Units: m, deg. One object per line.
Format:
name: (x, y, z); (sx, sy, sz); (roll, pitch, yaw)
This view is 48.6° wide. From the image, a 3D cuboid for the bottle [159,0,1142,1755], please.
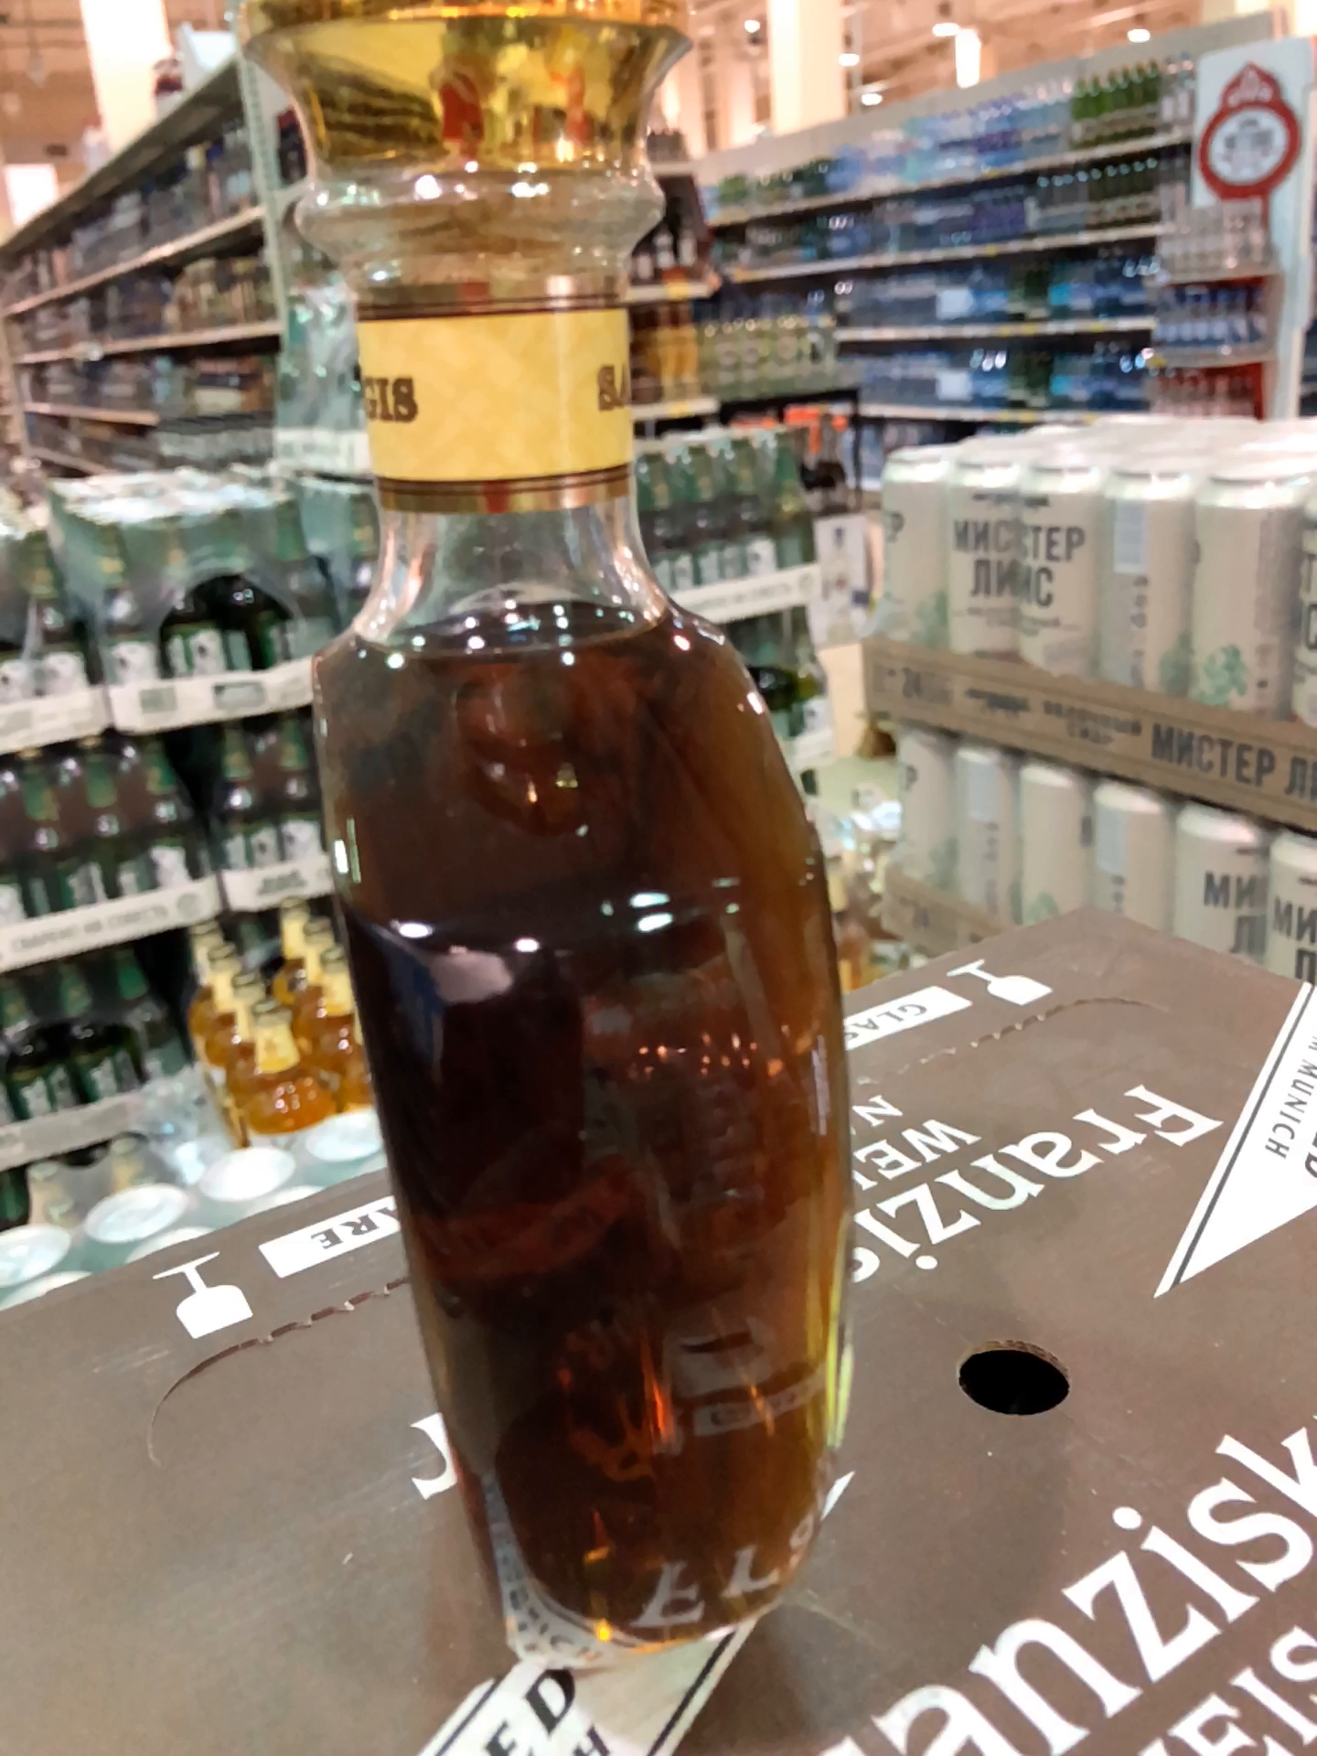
bottle: (-0.007, 0.002, 0.201); (0.070, 0.209, 0.141); (-9, 21, -11)
